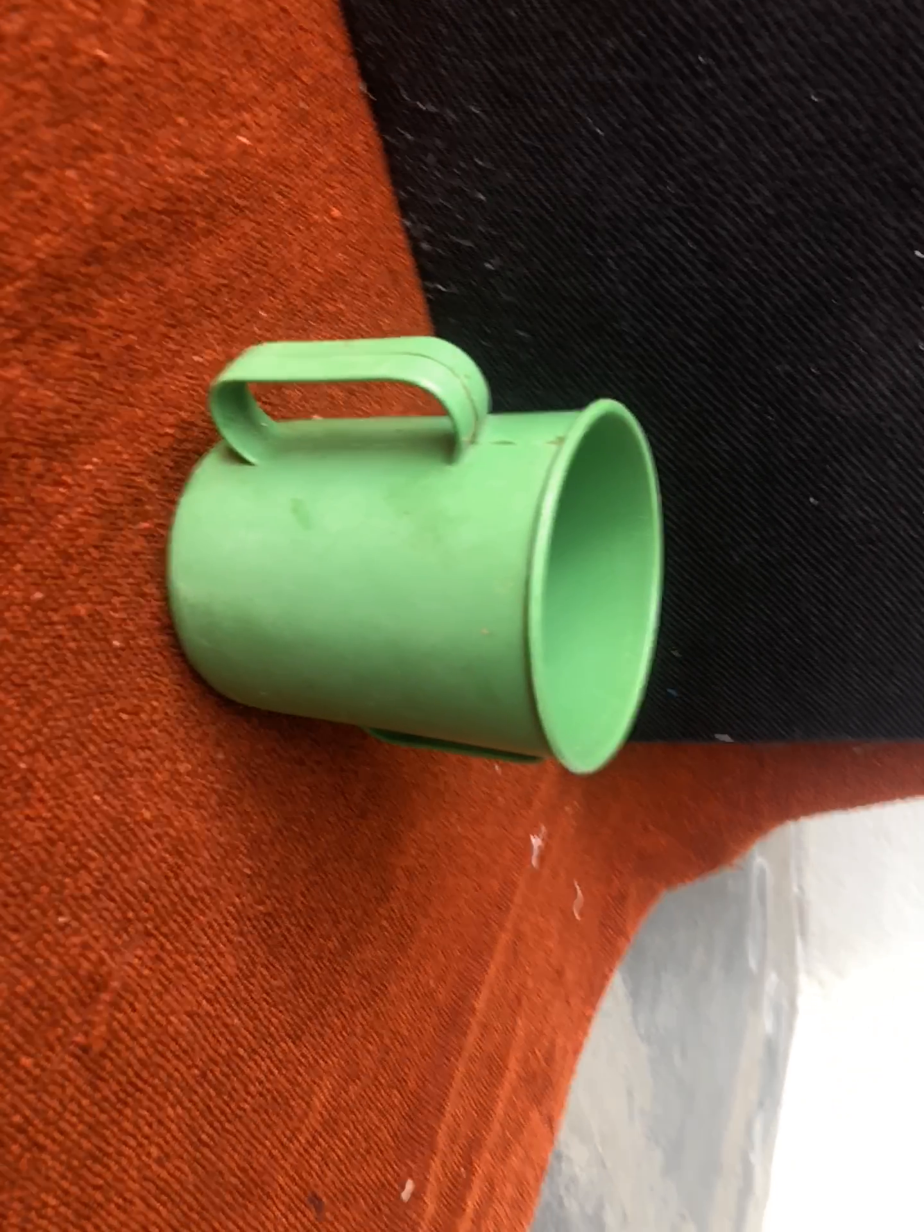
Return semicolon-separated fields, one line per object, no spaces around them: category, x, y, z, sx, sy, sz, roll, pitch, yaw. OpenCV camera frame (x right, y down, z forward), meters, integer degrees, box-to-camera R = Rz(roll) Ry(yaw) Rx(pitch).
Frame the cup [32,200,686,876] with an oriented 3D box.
cup;-0.008;-0.014;0.211;0.100;0.079;0.080;69;35;-44
